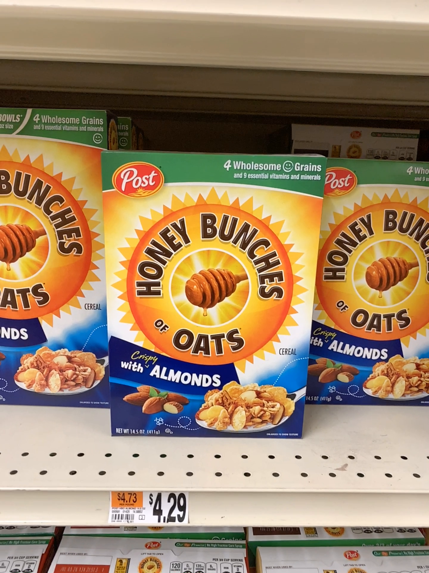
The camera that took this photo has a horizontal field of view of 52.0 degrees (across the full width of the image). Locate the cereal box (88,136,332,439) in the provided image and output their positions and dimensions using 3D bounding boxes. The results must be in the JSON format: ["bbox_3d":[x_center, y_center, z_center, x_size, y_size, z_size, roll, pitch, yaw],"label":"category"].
[{"bbox_3d":[-0.008,0.006,0.427,0.200,0.279,0.060,1,16,-1],"label":"cereal box"}]
